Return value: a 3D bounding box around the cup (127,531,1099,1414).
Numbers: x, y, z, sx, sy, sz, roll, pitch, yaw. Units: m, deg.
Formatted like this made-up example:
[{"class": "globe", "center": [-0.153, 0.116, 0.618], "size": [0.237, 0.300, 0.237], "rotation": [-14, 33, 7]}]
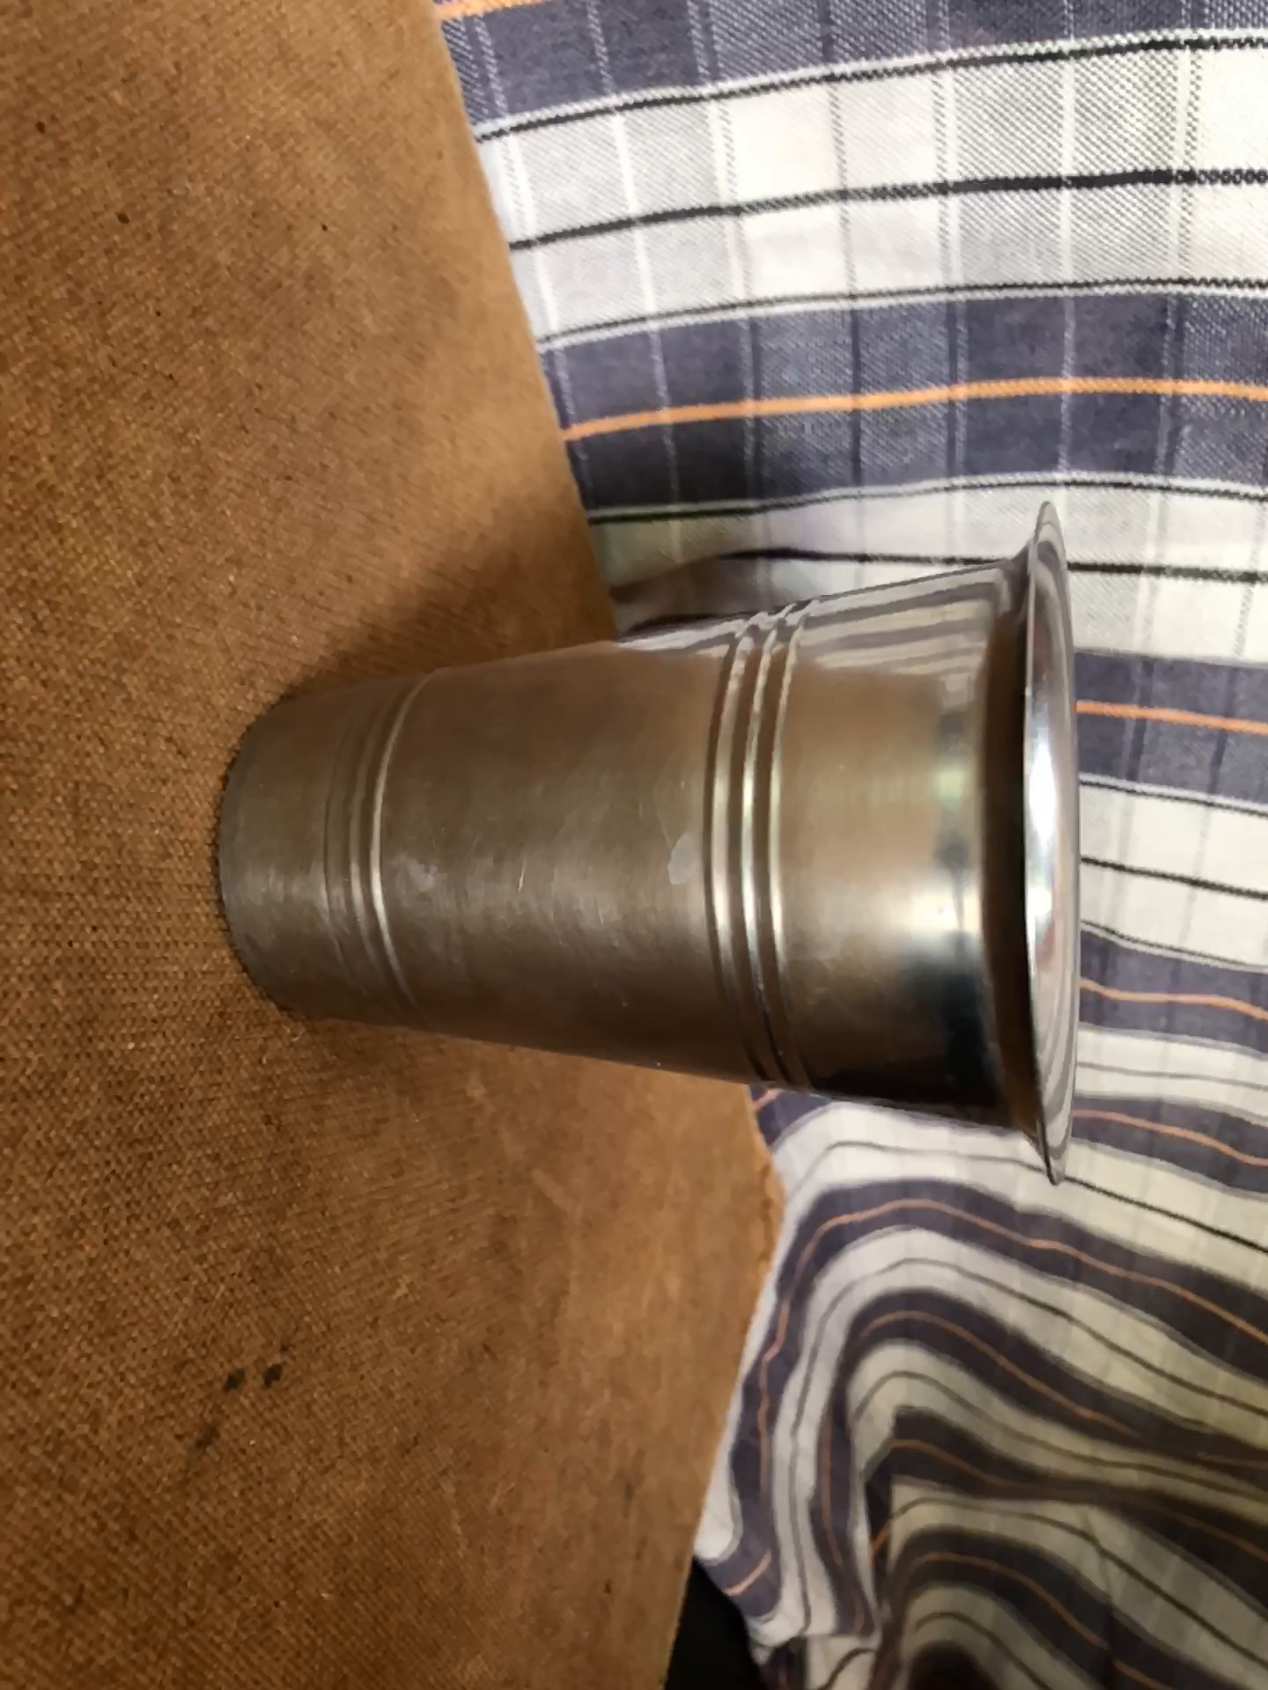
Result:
[{"class": "cup", "center": [0.009, 0.006, 0.182], "size": [0.091, 0.089, 0.080], "rotation": [-33, 119, -67]}]
